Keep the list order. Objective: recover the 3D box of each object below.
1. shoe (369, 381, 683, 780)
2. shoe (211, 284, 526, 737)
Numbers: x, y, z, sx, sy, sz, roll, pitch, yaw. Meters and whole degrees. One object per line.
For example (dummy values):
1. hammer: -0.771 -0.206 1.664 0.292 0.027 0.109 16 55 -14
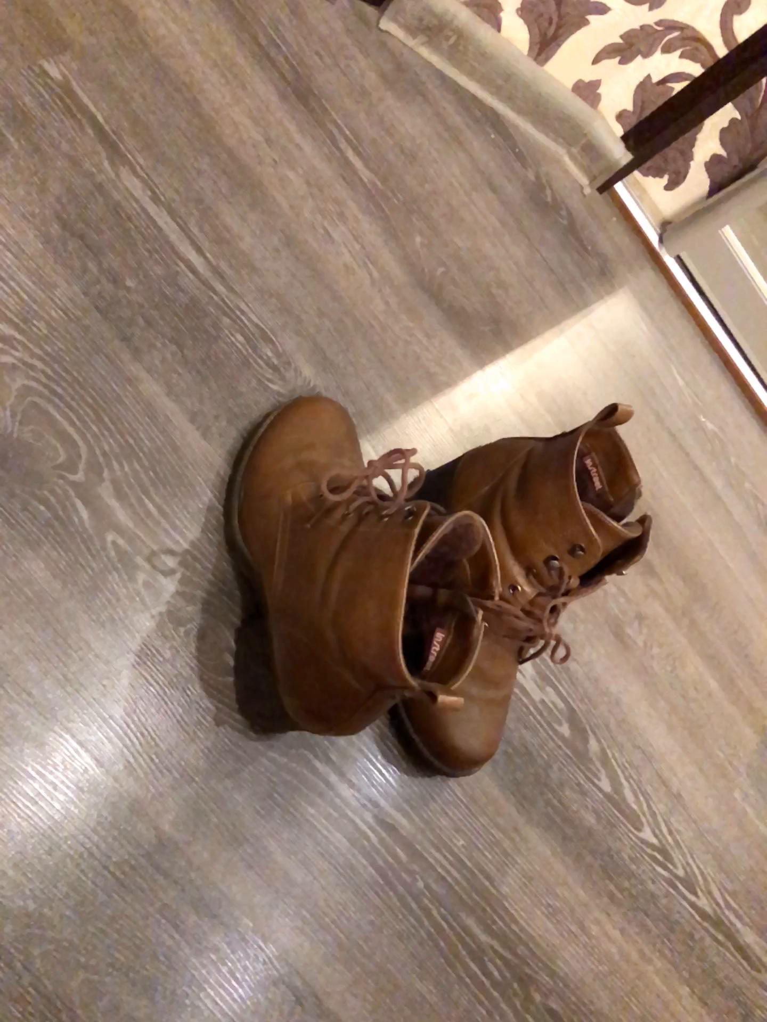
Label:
1. shoe: 0.089 0.060 0.566 0.090 0.189 0.220 18 65 -29
2. shoe: -0.016 0.016 0.502 0.100 0.169 0.220 11 69 -31
